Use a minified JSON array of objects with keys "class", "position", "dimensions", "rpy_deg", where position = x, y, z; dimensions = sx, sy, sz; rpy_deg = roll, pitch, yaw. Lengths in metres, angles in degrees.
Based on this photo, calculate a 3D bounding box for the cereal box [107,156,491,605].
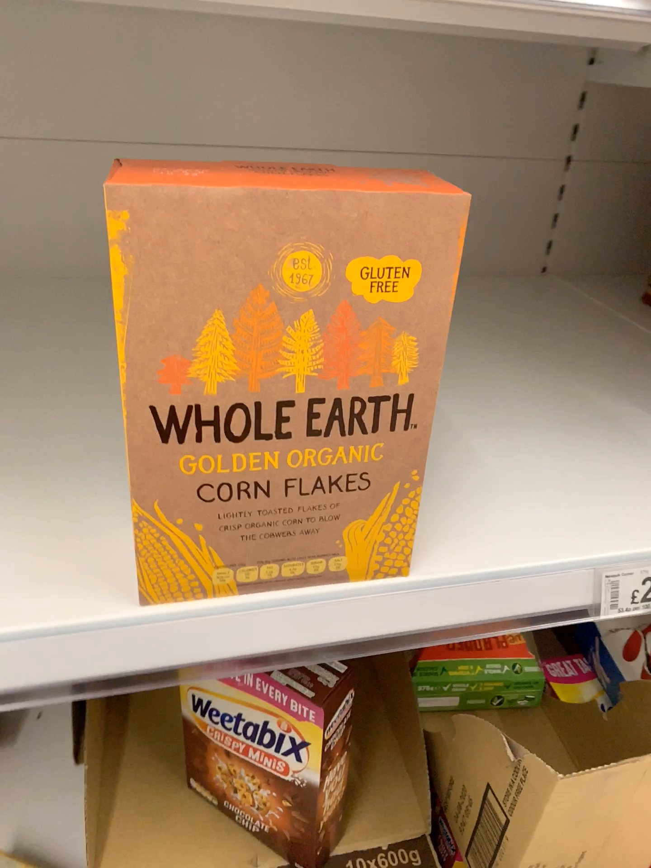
[{"class":"cereal box","position":[-0.026,-0.030,0.443],"dimensions":[0.200,0.268,0.091],"rpy_deg":[-3,29,-13]}]
